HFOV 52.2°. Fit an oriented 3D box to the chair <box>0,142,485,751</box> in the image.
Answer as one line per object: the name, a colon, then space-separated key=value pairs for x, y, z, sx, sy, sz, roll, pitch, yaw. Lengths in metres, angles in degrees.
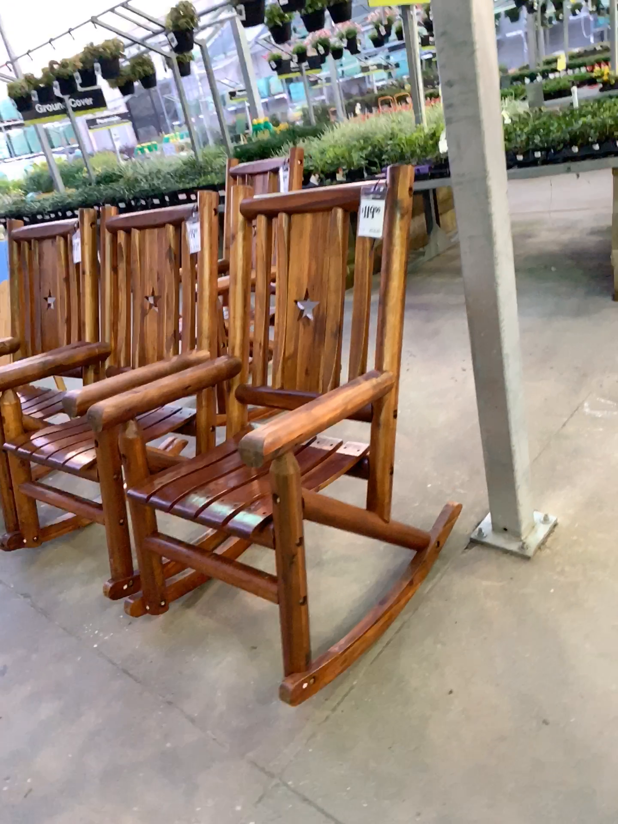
chair: x=-0.093 y=0.002 z=1.769 sx=0.675 sy=1.157 sz=1.020 roll=9 pitch=34 yaw=39

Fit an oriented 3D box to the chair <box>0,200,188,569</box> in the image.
chair: x=-1.288 y=-0.178 z=2.755 sx=0.675 sy=1.157 sz=1.020 roll=10 pitch=34 yaw=39

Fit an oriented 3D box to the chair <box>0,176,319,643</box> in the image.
chair: x=-0.649 y=-0.082 z=2.228 sx=0.675 sy=1.157 sz=1.020 roll=10 pitch=34 yaw=39
